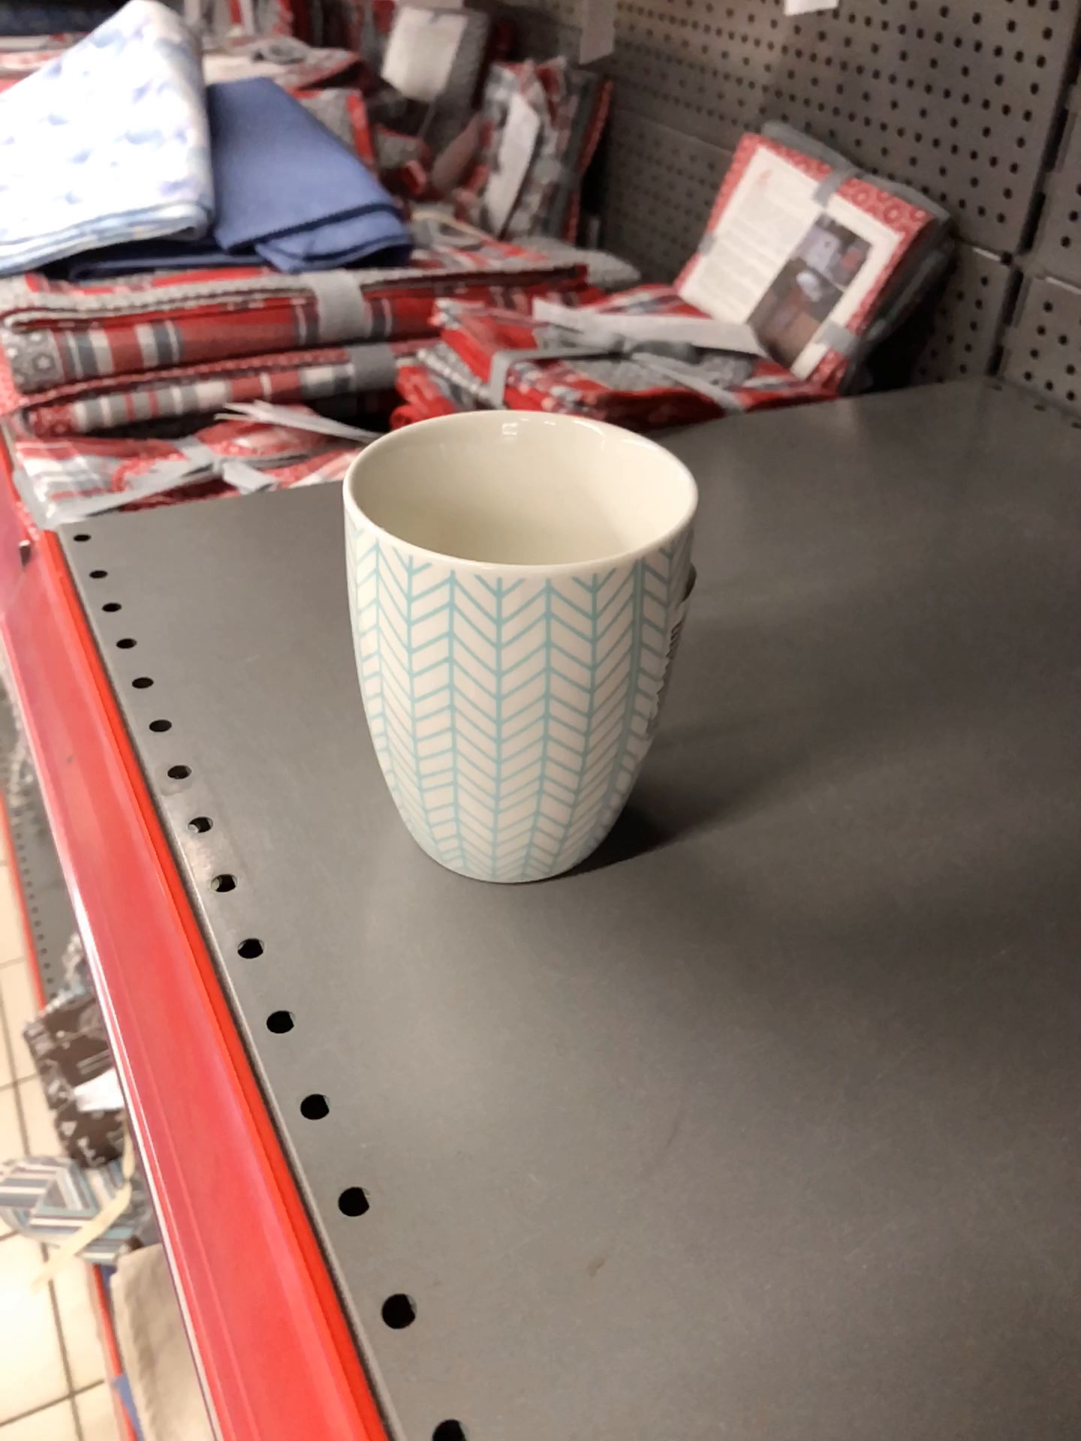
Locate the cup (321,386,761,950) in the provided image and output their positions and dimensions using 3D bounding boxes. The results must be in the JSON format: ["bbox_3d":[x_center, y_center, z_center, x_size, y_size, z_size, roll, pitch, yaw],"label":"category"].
[{"bbox_3d":[-0.008,-0.020,0.326,0.093,0.096,0.120,-4,38,-7],"label":"cup"}]
